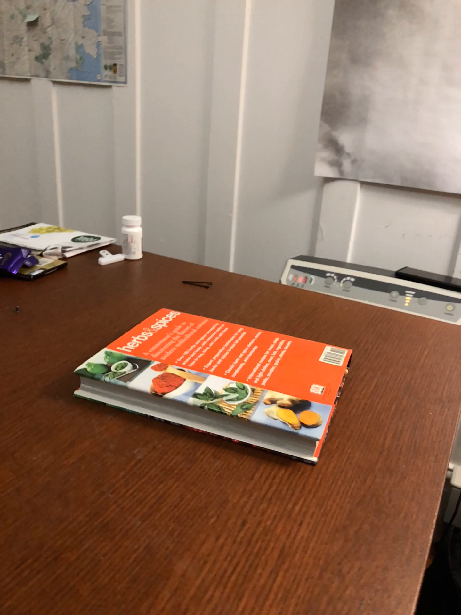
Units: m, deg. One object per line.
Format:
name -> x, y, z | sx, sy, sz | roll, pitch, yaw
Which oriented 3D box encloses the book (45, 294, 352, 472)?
book -> -0.020, 0.061, 0.558 | 0.270, 0.040, 0.211 | 12, 23, 18
